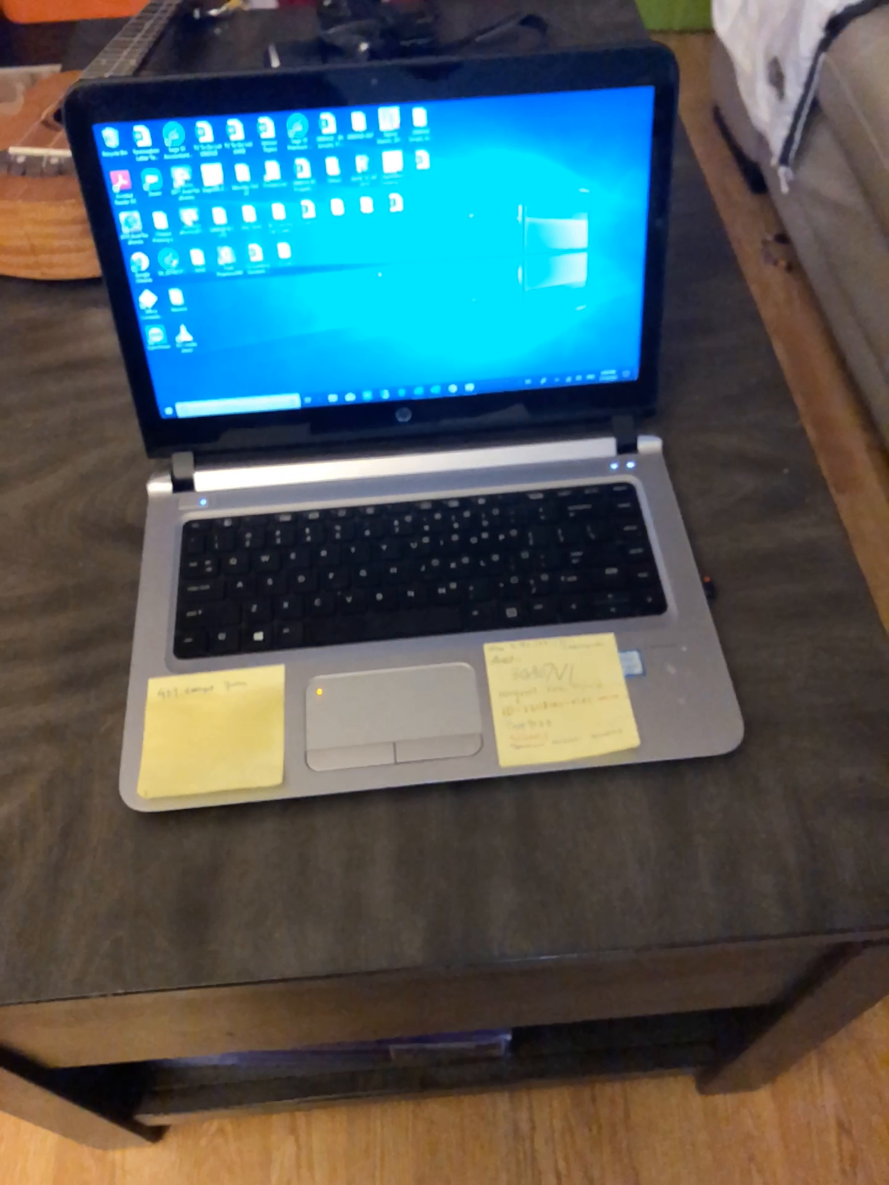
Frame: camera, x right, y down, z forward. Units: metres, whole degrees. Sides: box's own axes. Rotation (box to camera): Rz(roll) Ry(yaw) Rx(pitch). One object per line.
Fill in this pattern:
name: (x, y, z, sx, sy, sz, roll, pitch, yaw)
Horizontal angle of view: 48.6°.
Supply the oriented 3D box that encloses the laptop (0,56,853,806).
laptop: (-0.025, -0.090, 0.519, 0.315, 0.203, 0.314, -5, 55, -2)
